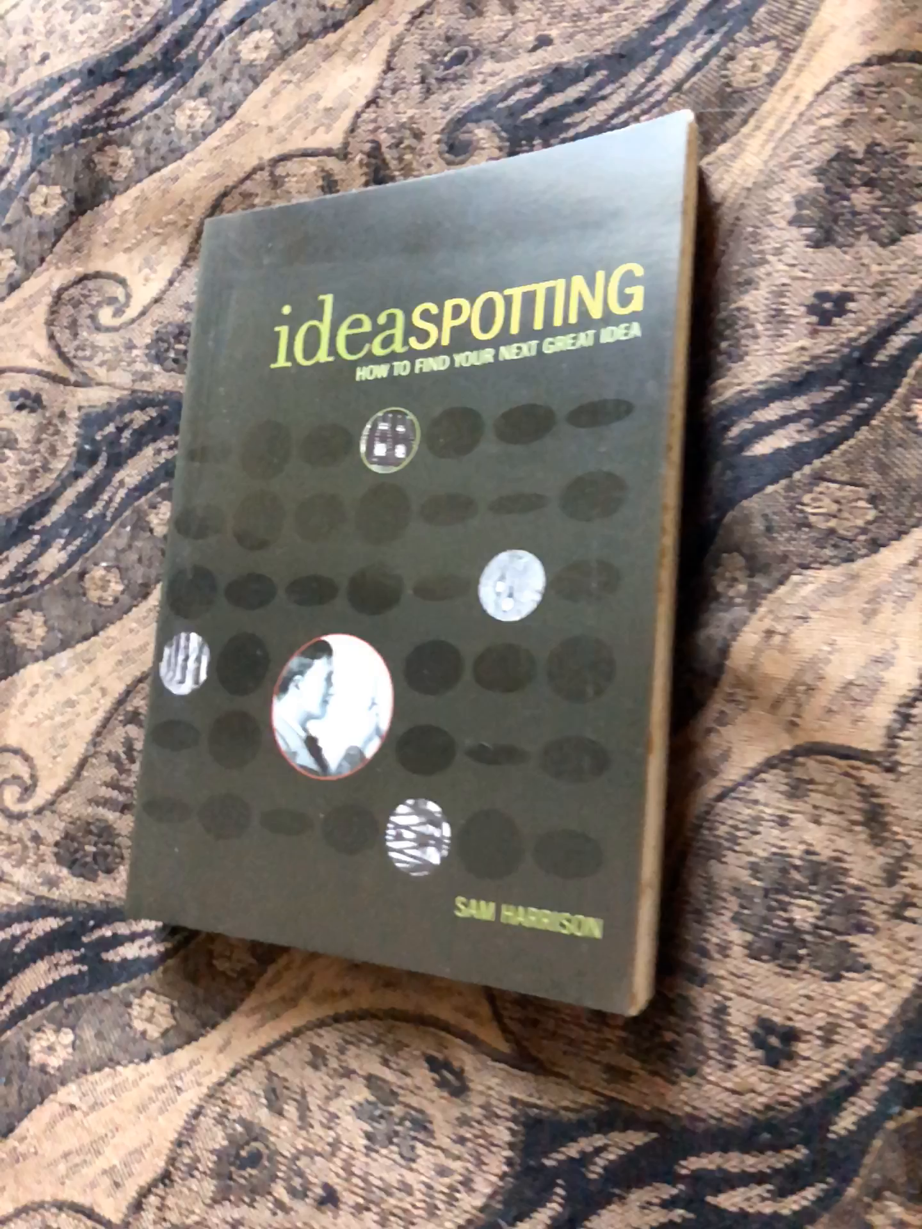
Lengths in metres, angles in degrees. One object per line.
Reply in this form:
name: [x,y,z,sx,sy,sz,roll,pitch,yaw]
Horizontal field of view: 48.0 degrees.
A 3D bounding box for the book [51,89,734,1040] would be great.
book: [-0.016,-0.012,0.240,0.141,0.040,0.180,0,79,27]
